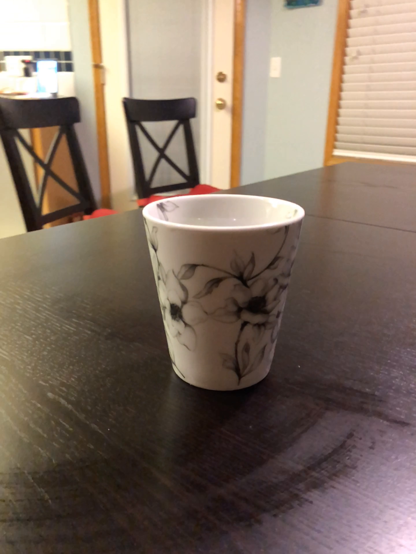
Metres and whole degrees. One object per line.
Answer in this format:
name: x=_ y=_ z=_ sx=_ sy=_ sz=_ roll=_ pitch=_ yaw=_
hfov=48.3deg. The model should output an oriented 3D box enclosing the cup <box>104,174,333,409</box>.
cup: x=0.014 y=-0.004 z=0.293 sx=0.100 sy=0.100 sz=0.120 roll=8 pitch=21 yaw=21
